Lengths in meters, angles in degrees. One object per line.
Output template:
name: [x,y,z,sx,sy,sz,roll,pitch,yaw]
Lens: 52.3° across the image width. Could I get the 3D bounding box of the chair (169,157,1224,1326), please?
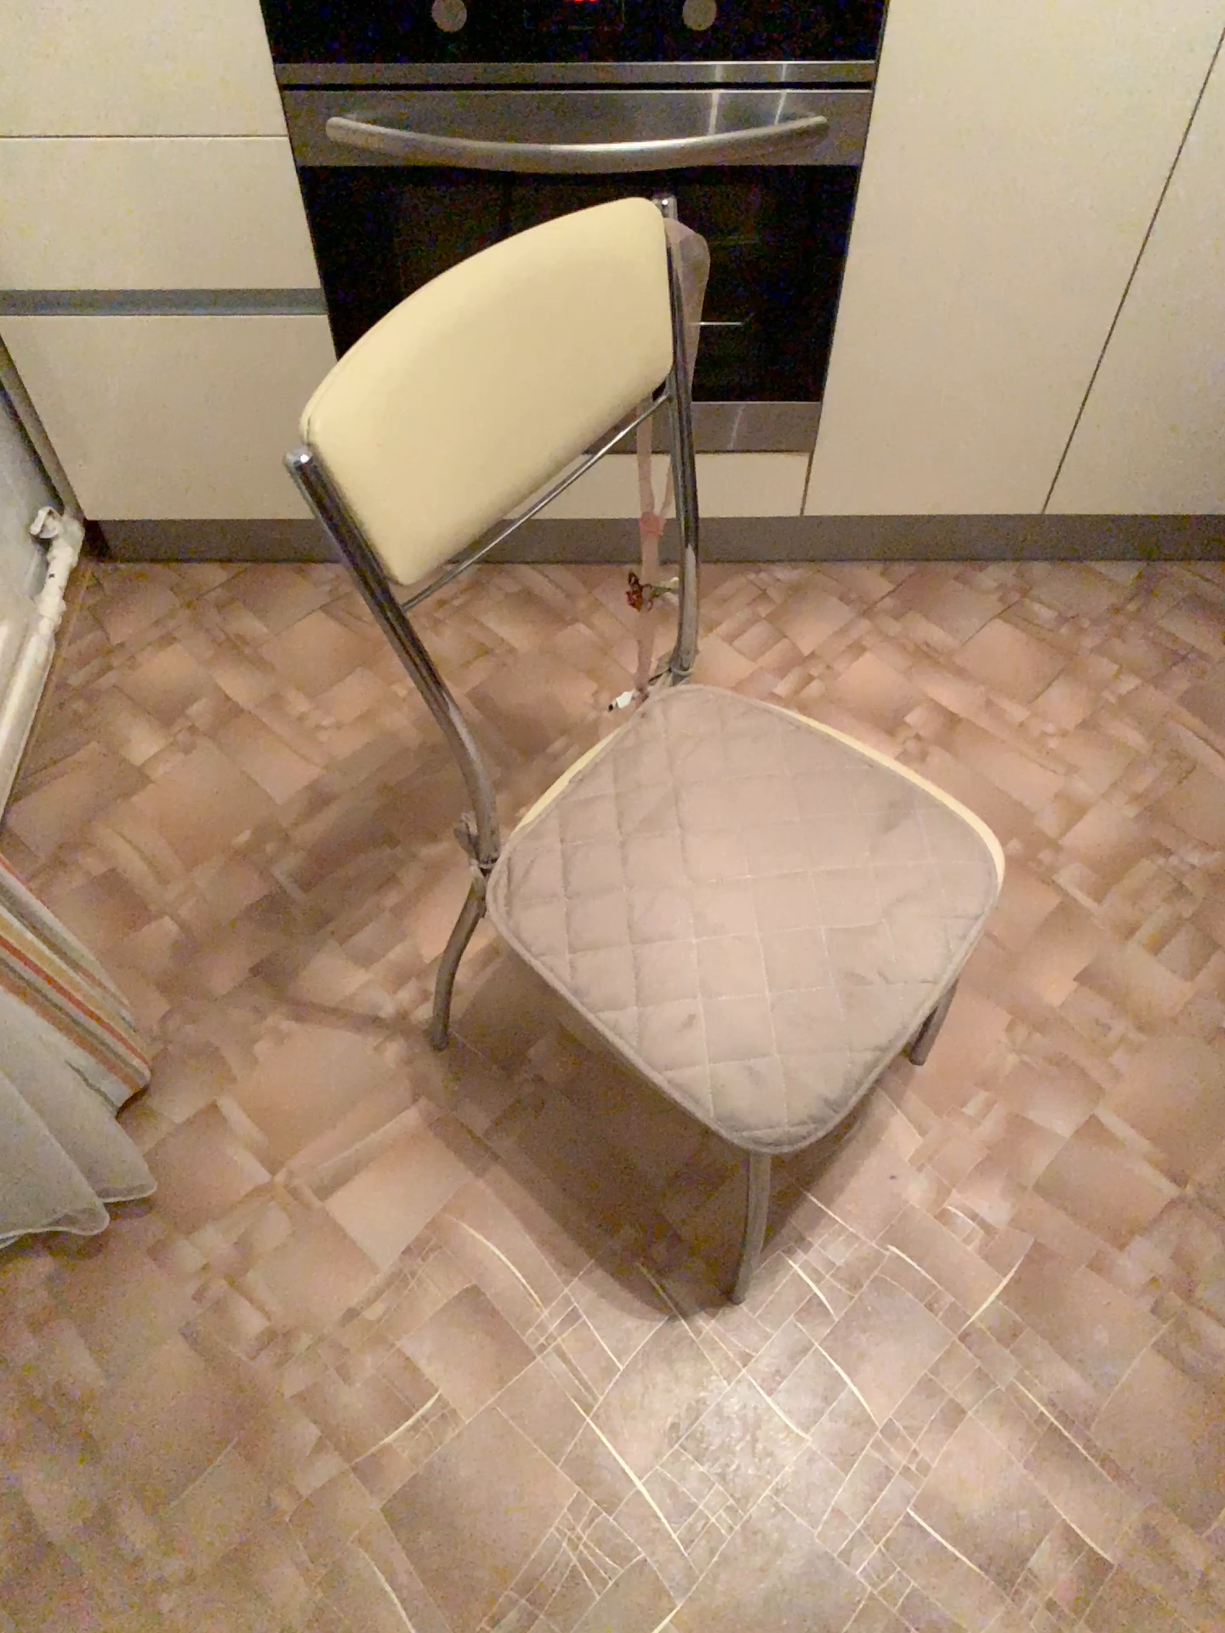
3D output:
chair: [0.056,0.021,1.071,0.491,0.854,0.385,34,63,21]
